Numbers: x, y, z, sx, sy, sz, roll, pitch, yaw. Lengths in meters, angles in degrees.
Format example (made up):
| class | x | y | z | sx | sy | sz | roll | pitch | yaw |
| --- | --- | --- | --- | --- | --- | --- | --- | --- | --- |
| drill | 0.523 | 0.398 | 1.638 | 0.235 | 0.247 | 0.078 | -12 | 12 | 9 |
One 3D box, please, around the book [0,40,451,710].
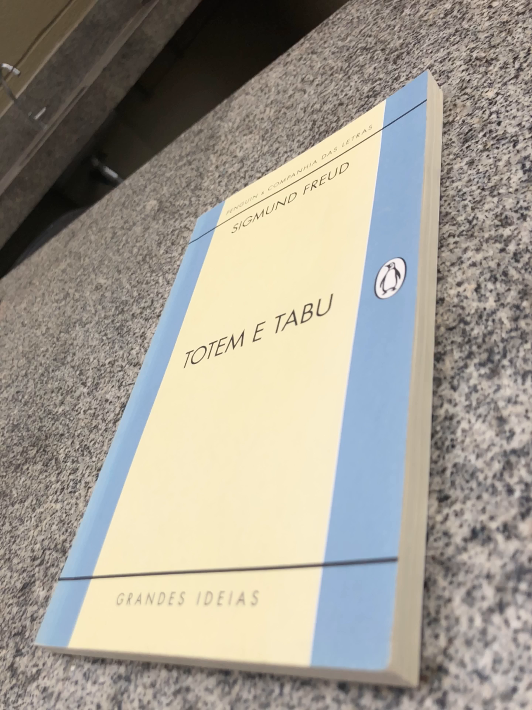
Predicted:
| class | x | y | z | sx | sy | sz | roll | pitch | yaw |
| --- | --- | --- | --- | --- | --- | --- | --- | --- | --- |
| book | -0.009 | -0.007 | 0.186 | 0.130 | 0.015 | 0.192 | -19 | 43 | 39 |
